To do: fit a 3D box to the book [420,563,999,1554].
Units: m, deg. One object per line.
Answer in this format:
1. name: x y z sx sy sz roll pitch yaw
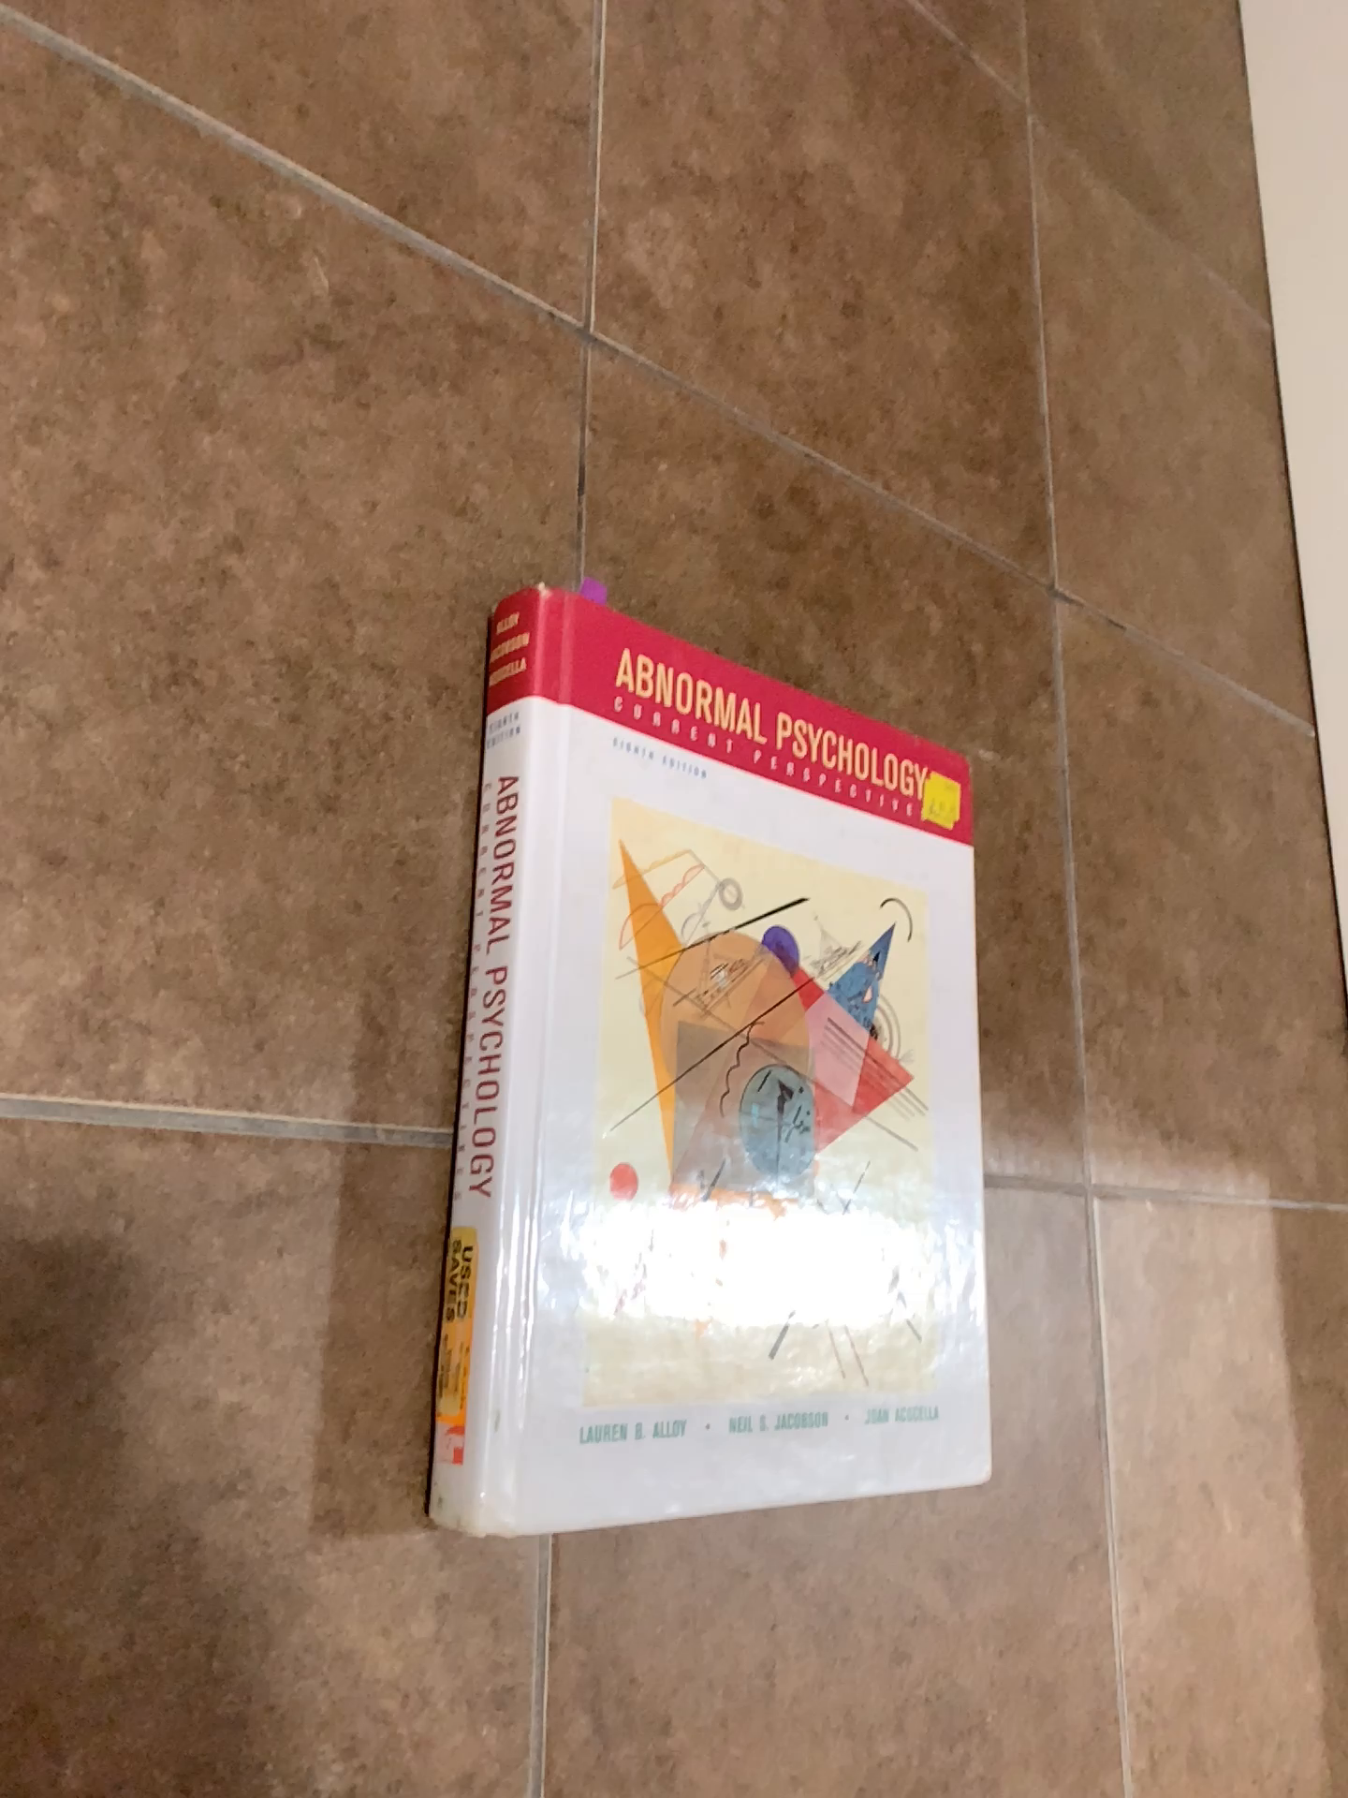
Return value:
1. book: 0.028 0.057 0.480 0.224 0.031 0.288 14 70 -39
